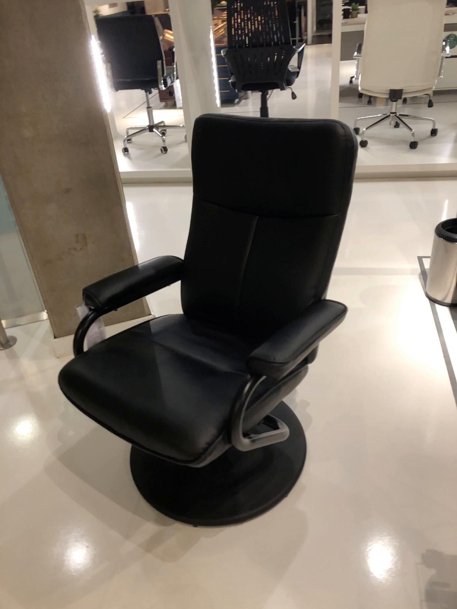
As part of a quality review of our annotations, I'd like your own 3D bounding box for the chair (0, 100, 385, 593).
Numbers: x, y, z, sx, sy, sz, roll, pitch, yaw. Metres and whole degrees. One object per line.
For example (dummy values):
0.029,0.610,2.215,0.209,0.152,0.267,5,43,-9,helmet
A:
-0.072,0.043,1.414,0.692,0.992,0.734,18,40,32,chair
